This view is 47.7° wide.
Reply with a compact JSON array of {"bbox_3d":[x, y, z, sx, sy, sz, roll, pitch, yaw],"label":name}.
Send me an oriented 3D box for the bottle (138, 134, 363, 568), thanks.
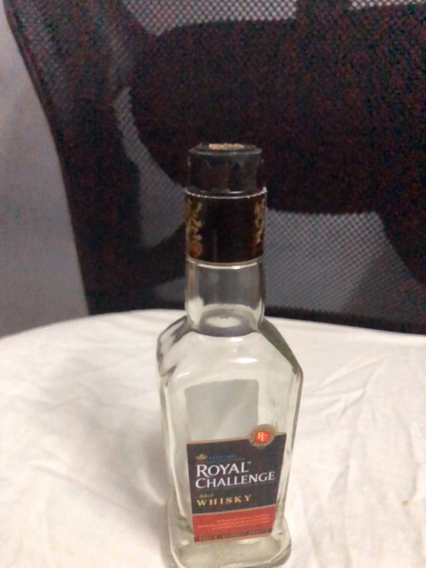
[{"bbox_3d":[0.009,0.042,0.209,0.070,0.199,0.050,-4,23,-8],"label":"bottle"}]
